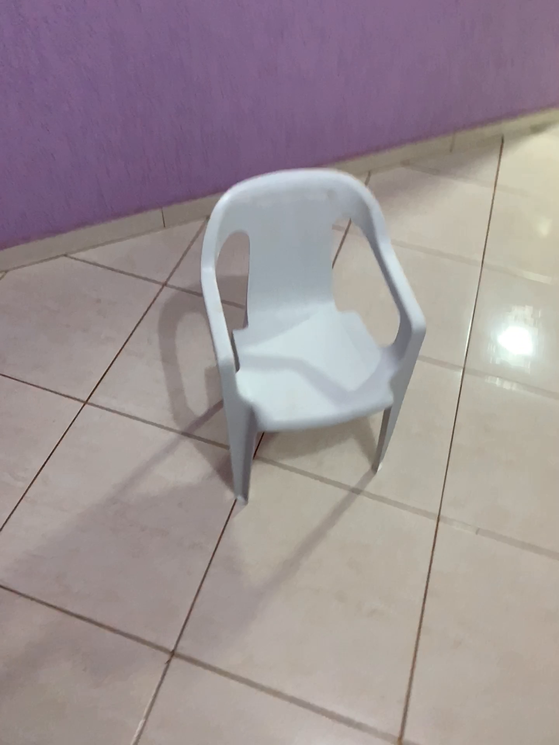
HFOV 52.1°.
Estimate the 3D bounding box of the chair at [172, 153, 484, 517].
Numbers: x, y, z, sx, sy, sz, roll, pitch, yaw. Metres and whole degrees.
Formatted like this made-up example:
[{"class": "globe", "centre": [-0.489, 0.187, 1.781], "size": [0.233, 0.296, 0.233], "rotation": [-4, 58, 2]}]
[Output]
[{"class": "chair", "centre": [0.045, -0.047, 1.147], "size": [0.401, 0.596, 0.362], "rotation": [-12, 55, -13]}]
